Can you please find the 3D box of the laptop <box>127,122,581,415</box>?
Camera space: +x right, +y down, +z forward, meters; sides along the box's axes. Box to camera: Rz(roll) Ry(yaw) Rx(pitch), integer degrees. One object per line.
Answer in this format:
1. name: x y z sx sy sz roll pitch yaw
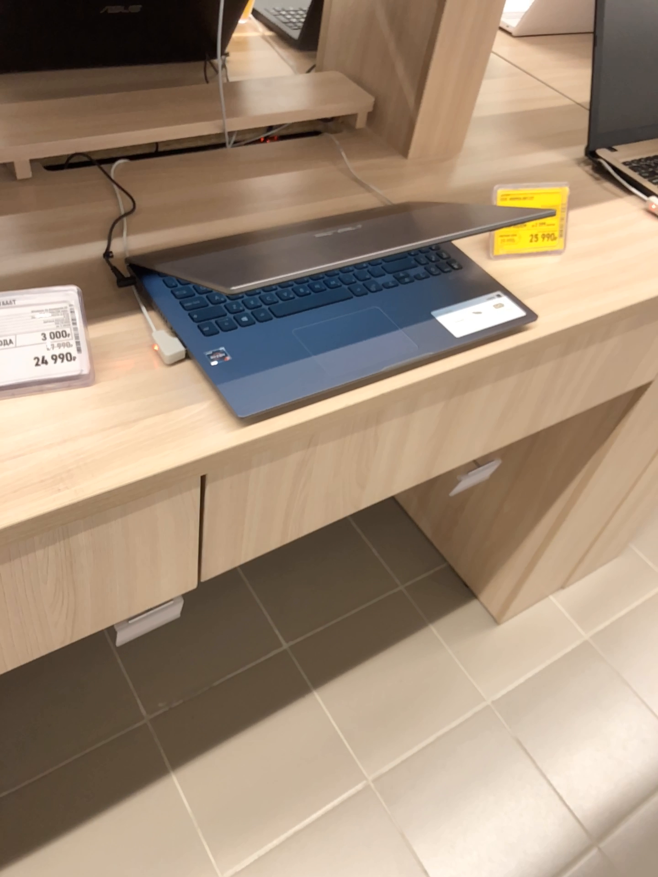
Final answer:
1. laptop: 0.020 -0.186 0.705 0.349 0.111 0.233 -20 53 -28
